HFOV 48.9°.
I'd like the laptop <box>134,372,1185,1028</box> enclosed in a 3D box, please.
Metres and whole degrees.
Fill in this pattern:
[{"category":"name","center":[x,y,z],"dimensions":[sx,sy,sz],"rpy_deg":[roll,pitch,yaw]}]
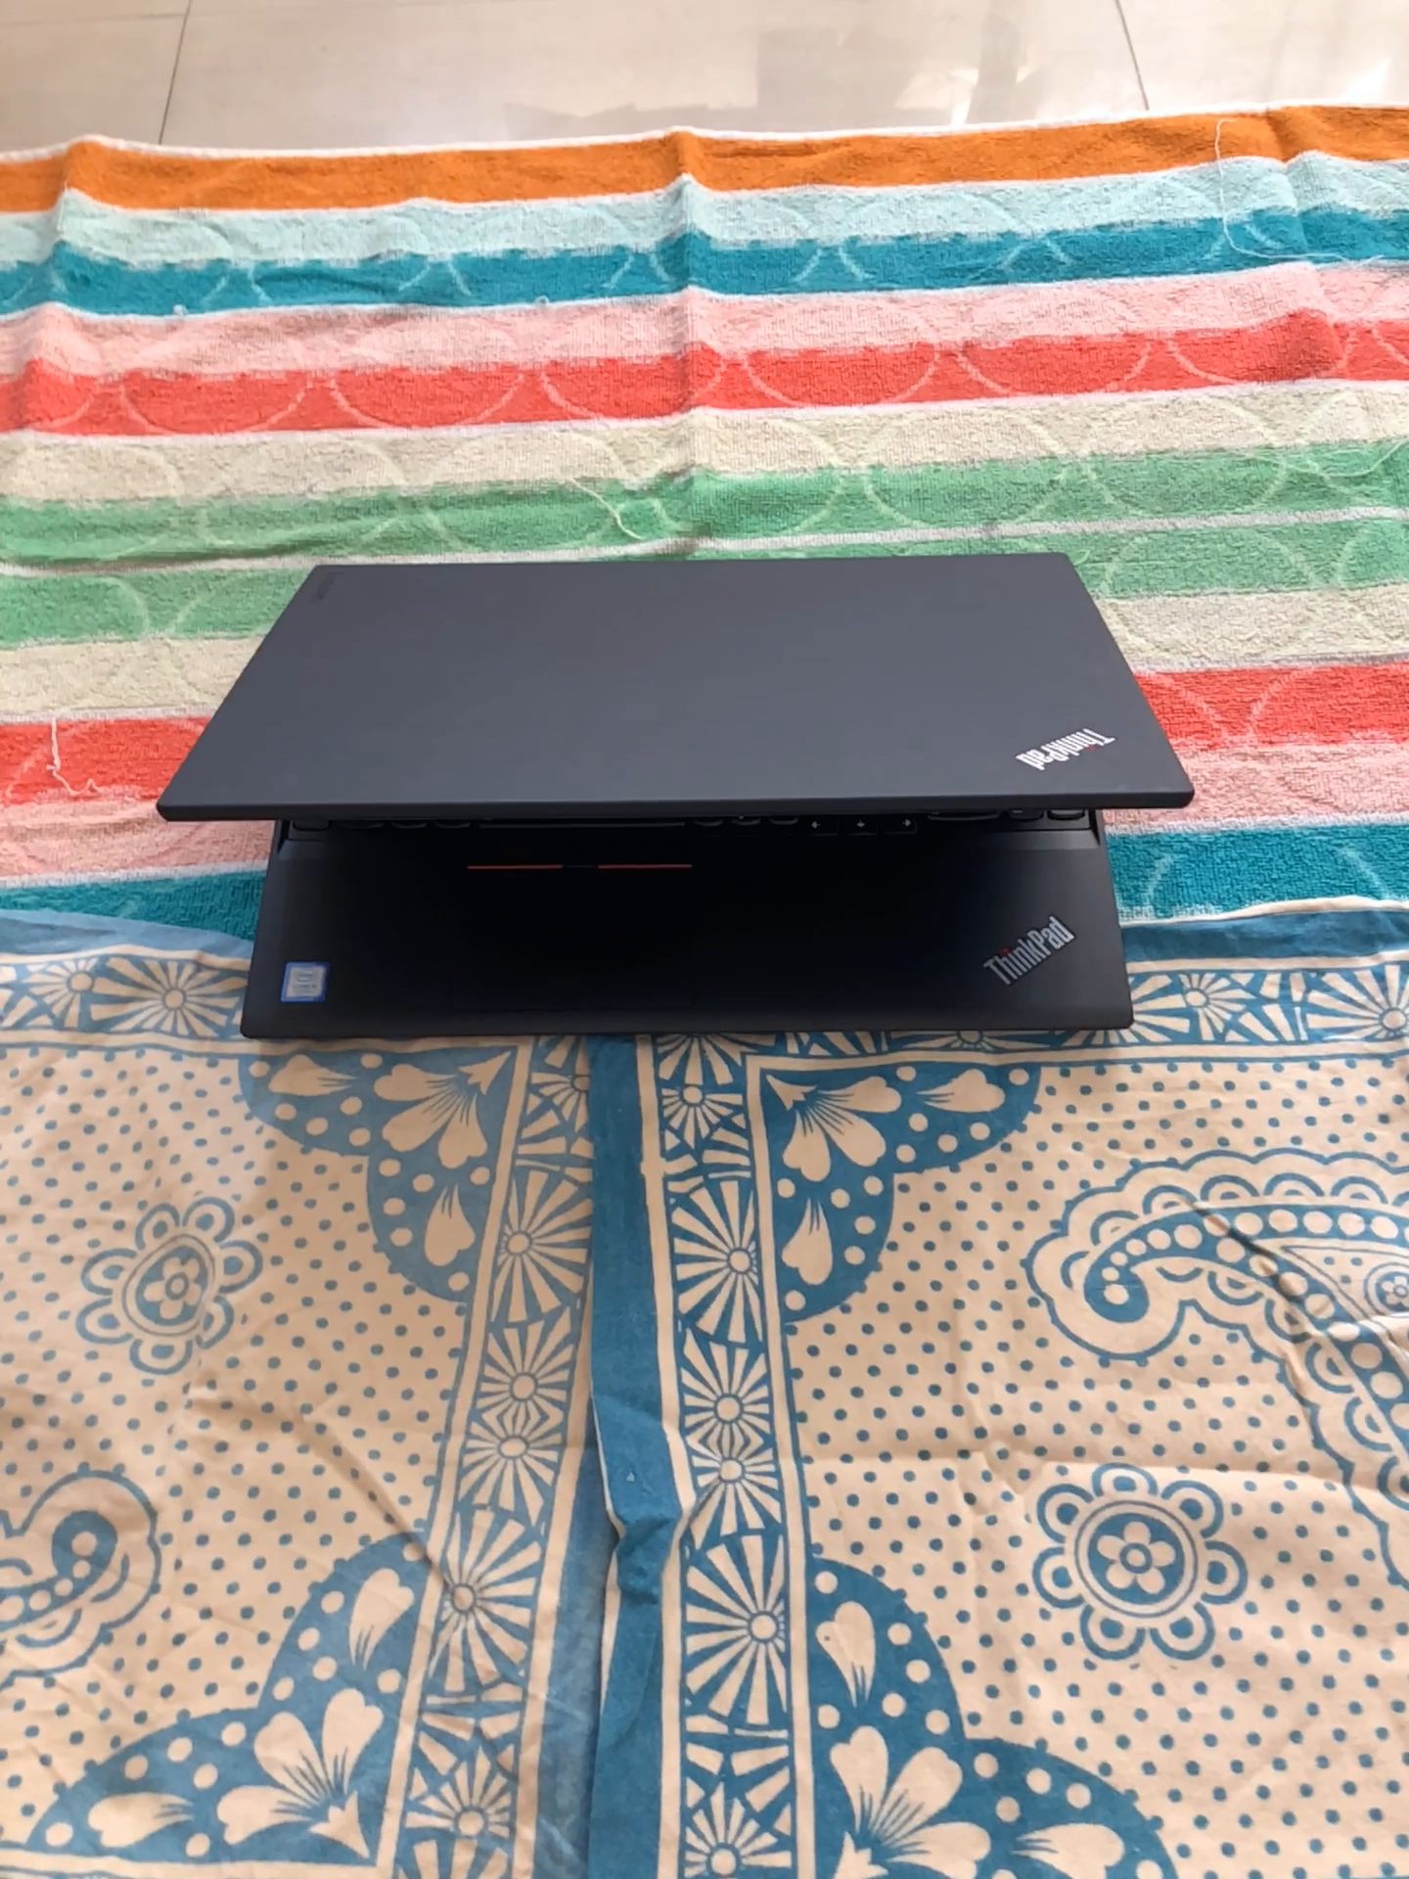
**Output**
[{"category":"laptop","center":[-0.011,-0.100,0.627],"dimensions":[0.345,0.121,0.243],"rpy_deg":[0,59,-1]}]
